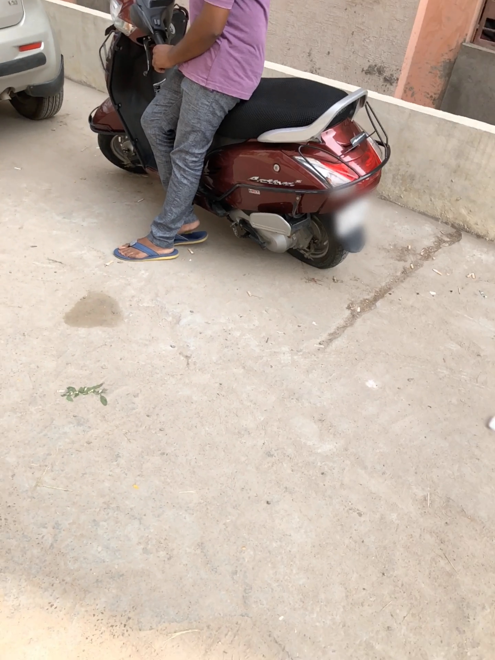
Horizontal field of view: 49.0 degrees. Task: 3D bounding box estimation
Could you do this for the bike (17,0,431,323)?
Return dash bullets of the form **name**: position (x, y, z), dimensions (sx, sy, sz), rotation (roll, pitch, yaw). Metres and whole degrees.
- **bike**: position (-0.215, -0.928, 2.378), dimensions (1.578, 1.072, 0.633), rotation (30, 42, 28)
